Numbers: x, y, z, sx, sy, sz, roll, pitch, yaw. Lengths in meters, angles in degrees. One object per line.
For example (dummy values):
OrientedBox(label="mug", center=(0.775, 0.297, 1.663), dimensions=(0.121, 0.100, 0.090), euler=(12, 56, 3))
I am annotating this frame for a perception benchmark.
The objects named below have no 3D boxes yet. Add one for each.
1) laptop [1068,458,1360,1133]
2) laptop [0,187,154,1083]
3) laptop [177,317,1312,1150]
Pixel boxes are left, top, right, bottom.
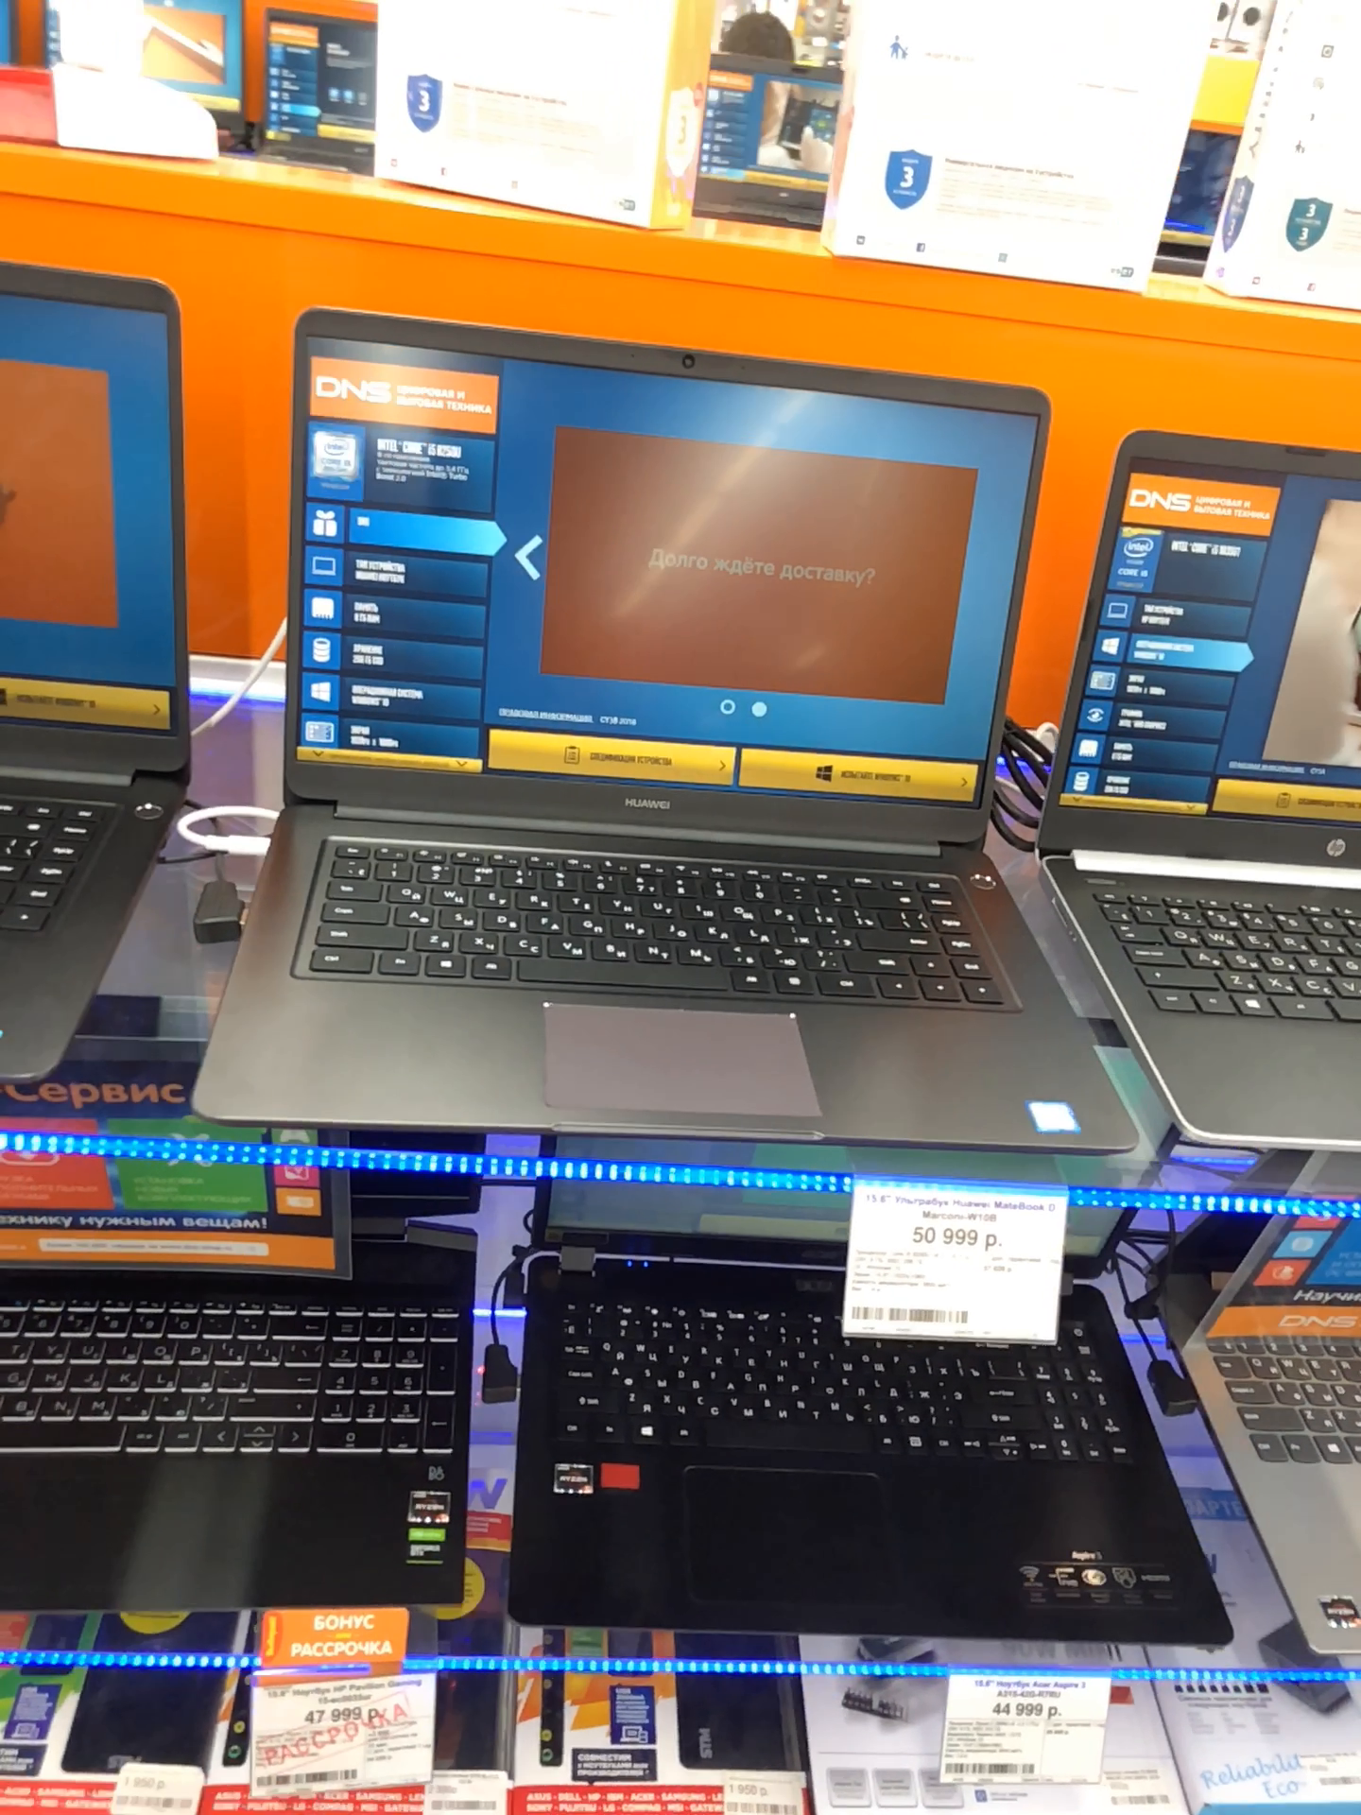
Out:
OrientedBox(label="laptop", center=(0.352, -0.060, 0.646), dimensions=(0.269, 0.195, 0.244), euler=(3, 32, -2))
OrientedBox(label="laptop", center=(-0.395, -0.109, 0.554), dimensions=(0.355, 0.230, 0.242), euler=(3, 30, -8))
OrientedBox(label="laptop", center=(0.000, -0.084, 0.613), dimensions=(0.338, 0.212, 0.289), euler=(3, 31, -8))
